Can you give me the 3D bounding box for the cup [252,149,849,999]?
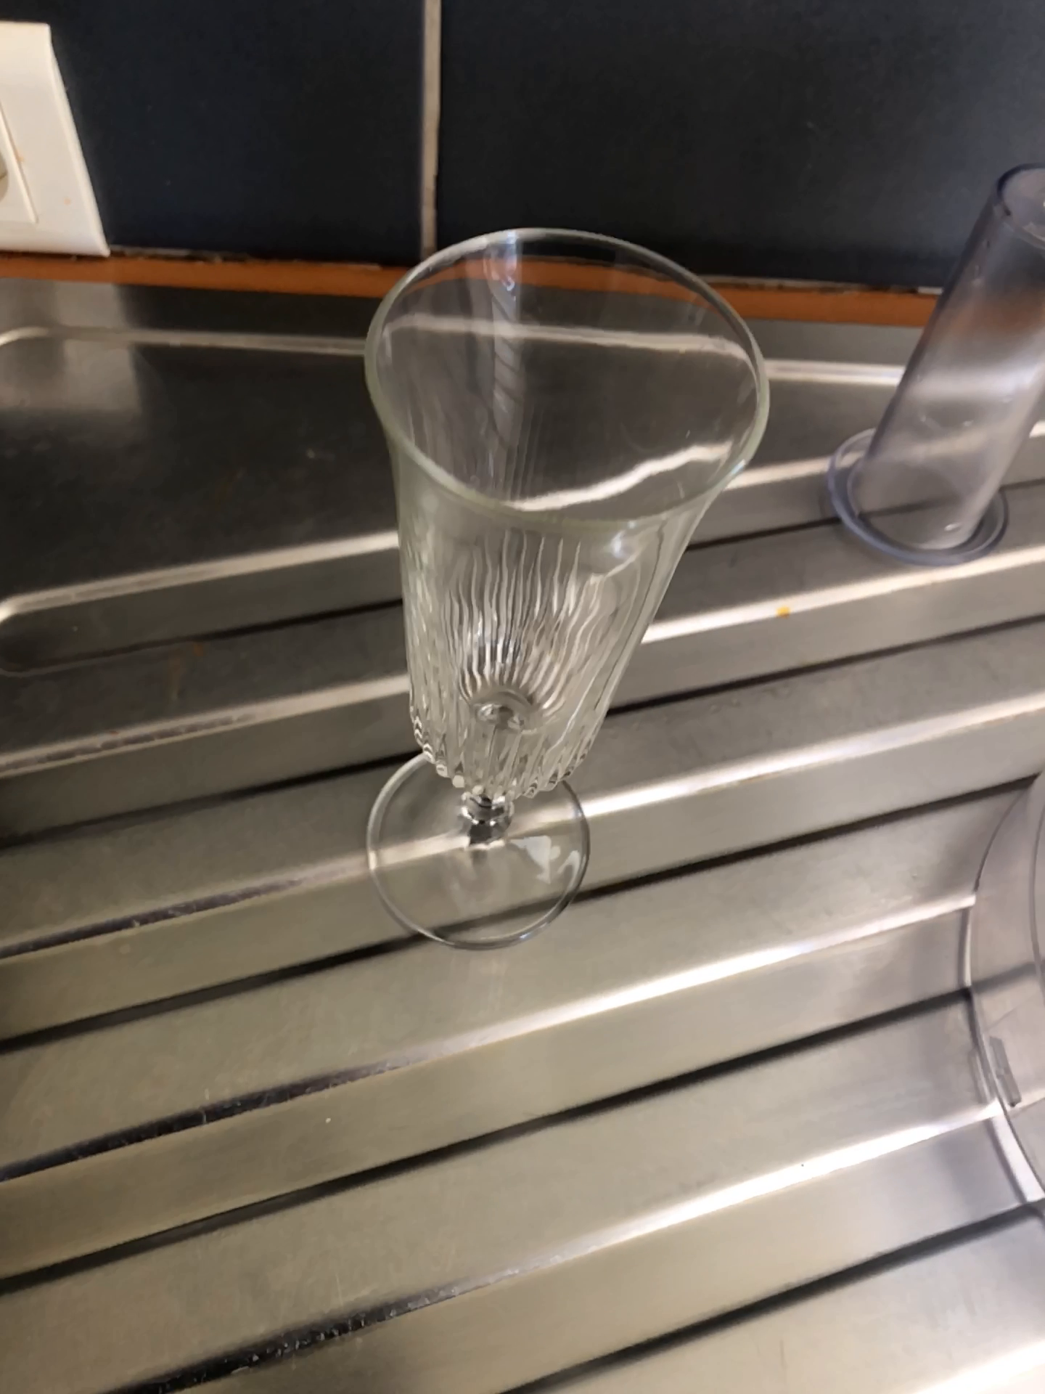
[{"bbox_3d":[-0.001,-0.006,0.232,0.060,0.169,0.060,3,59,-4],"label":"cup"}]
